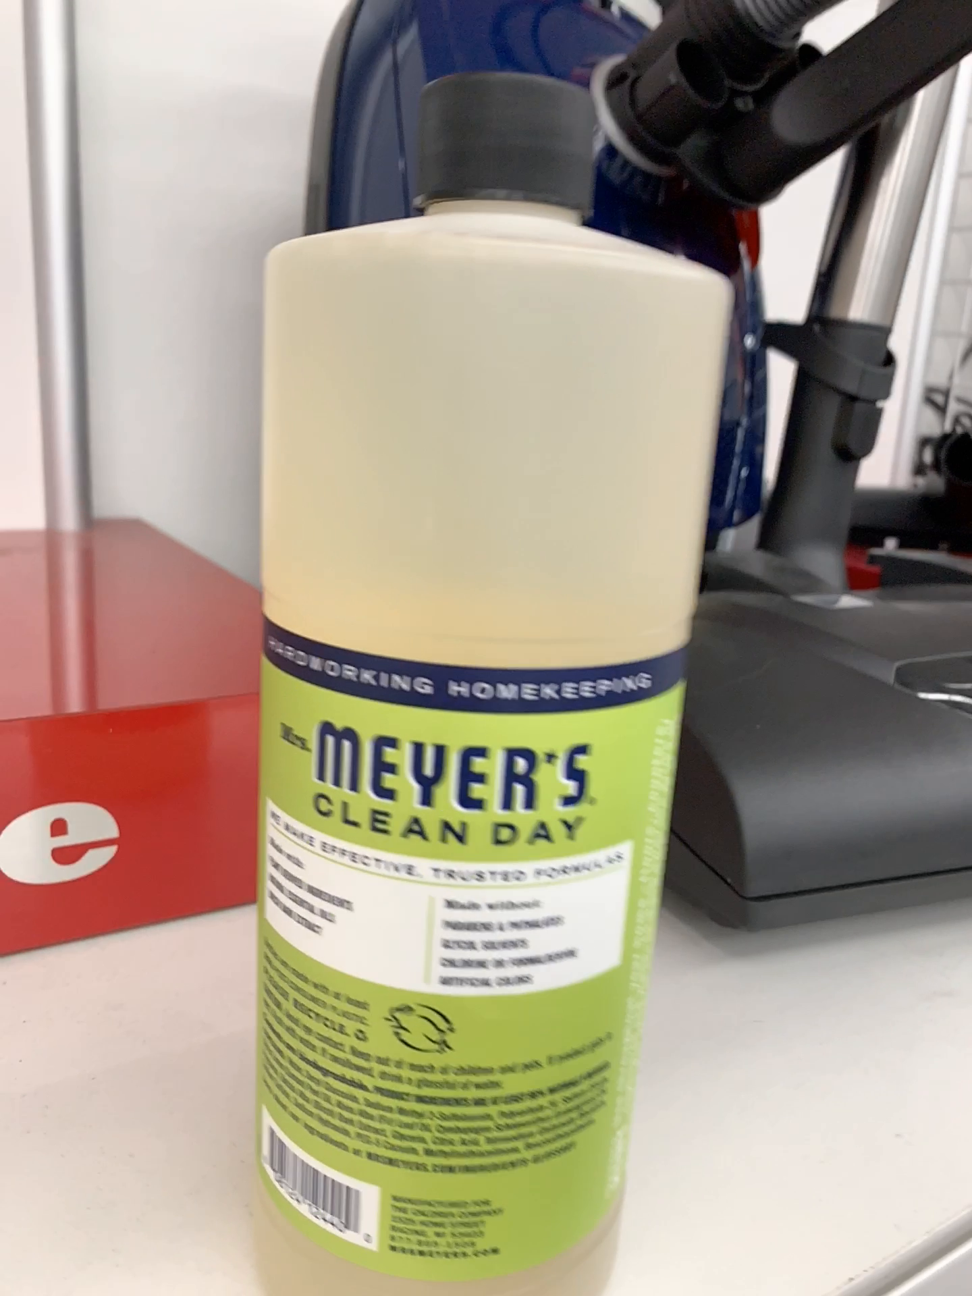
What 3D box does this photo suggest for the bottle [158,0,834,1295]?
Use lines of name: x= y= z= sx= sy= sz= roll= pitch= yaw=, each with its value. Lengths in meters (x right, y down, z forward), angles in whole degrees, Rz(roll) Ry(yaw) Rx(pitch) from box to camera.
bottle: x=-0.003 y=0.011 z=0.208 sx=0.090 sy=0.239 sz=0.090 roll=3 pitch=14 yaw=-1
